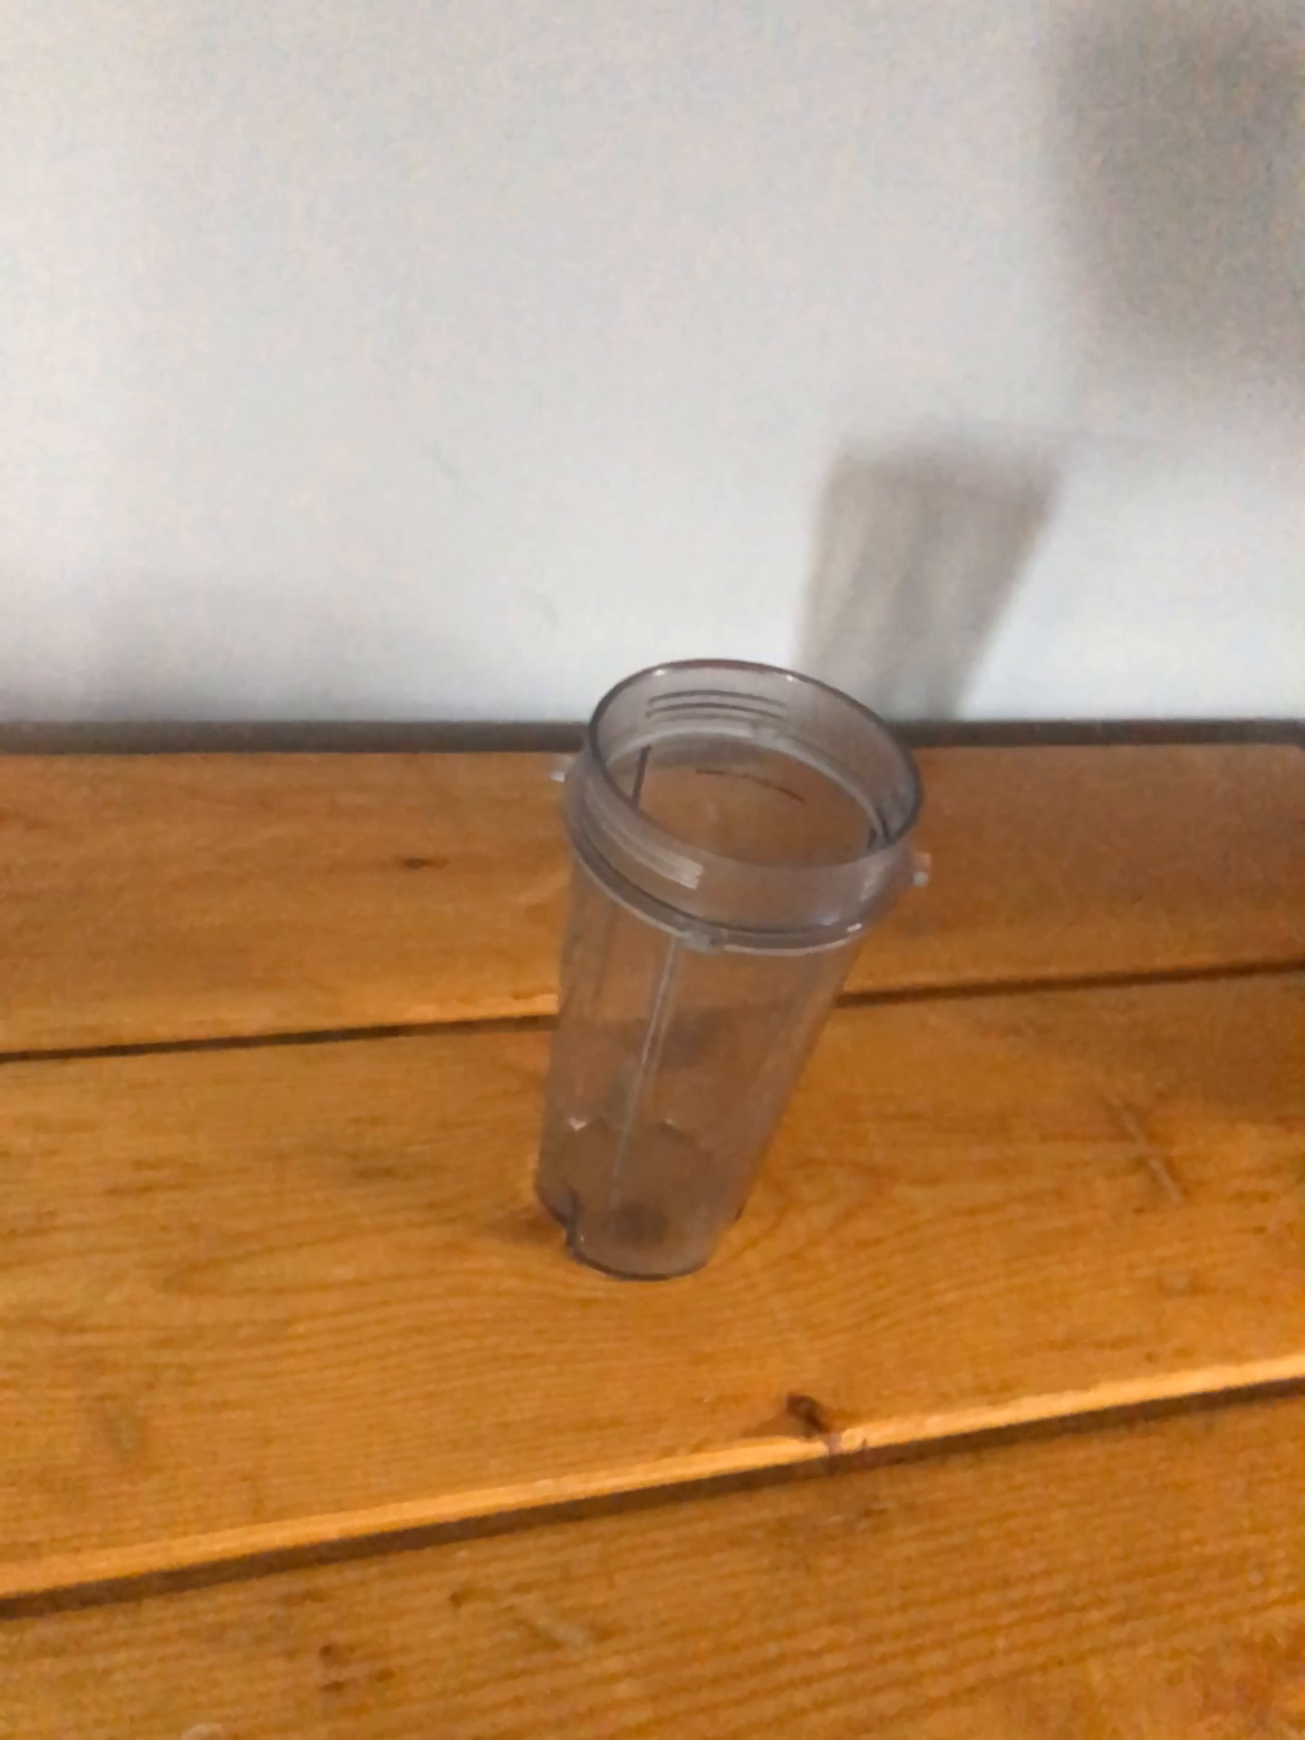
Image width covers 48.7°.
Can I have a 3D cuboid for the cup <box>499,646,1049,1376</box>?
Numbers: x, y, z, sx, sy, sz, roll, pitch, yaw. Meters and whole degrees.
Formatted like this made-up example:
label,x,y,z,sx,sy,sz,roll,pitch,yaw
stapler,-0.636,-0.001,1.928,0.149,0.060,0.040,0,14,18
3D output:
label,x,y,z,sx,sy,sz,roll,pitch,yaw
cup,0.020,0.045,0.405,0.080,0.189,0.090,-10,47,-24
